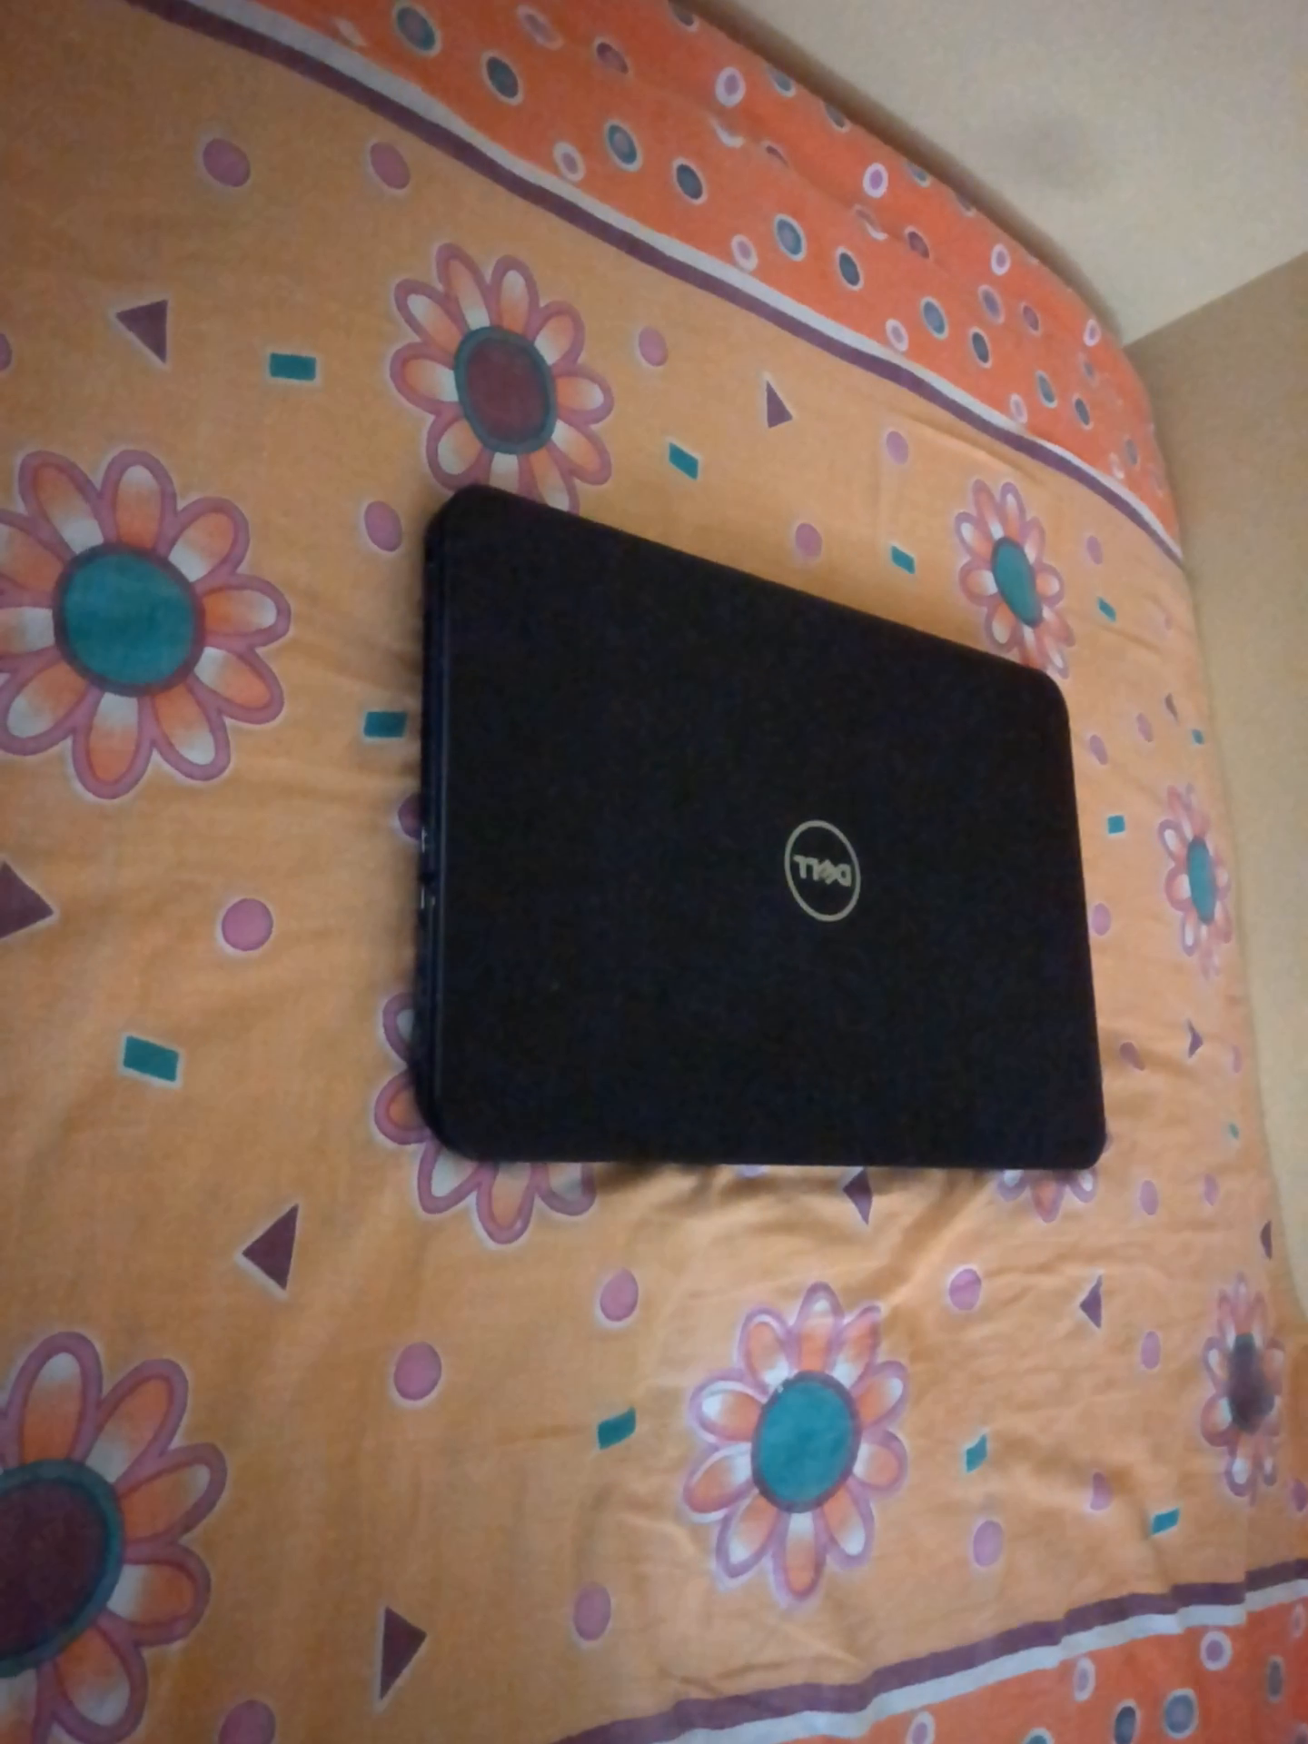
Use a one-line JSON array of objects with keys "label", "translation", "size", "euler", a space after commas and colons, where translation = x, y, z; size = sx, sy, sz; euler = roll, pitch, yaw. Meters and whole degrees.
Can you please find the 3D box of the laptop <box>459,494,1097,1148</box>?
[{"label": "laptop", "translation": [0.074, -0.003, 0.629], "size": [0.360, 0.001, 0.236], "euler": [9, 75, -36]}]
